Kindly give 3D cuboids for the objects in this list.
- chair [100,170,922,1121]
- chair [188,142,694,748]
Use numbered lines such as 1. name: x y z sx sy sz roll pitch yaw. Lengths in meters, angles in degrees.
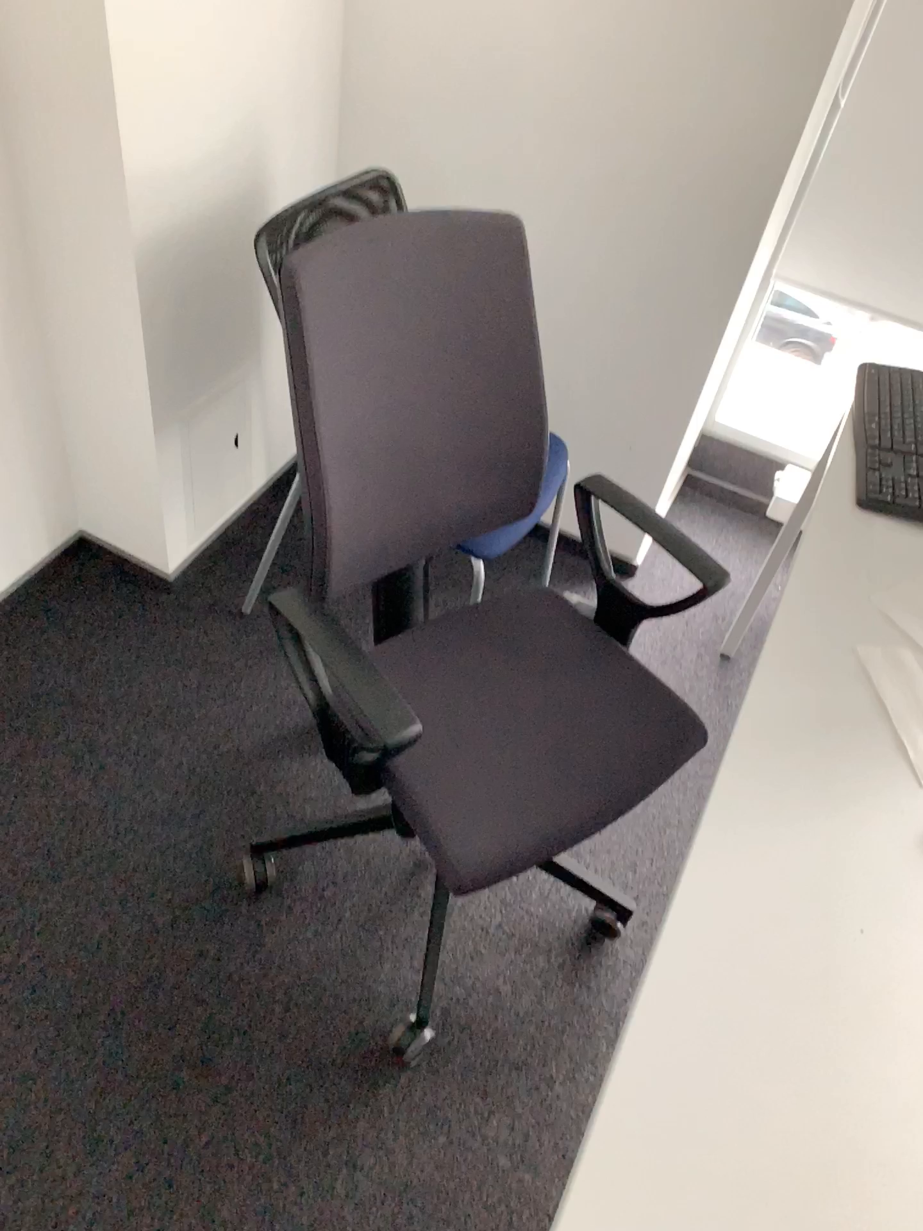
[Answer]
1. chair: 0.026 0.054 1.357 0.692 1.005 0.681 -26 57 -31
2. chair: -0.056 -0.343 1.880 0.610 0.806 0.673 27 48 14
